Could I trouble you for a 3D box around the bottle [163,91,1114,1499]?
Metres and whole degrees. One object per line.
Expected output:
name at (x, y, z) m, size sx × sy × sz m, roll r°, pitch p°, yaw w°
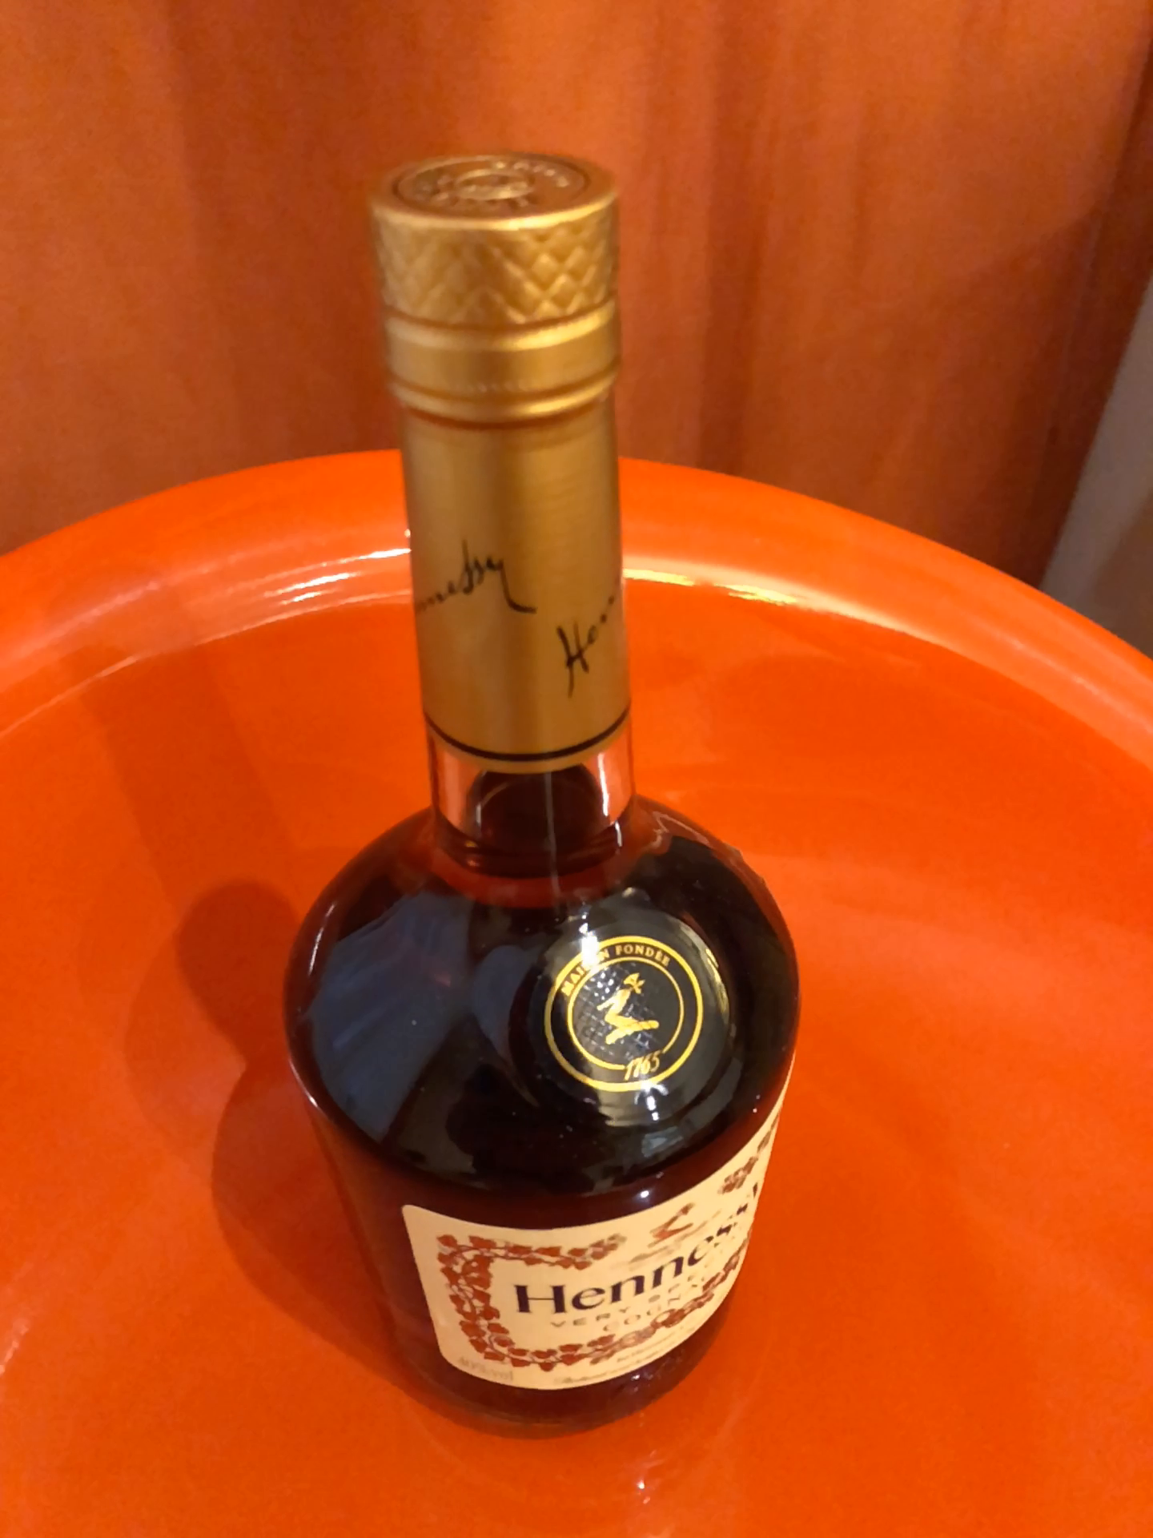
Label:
bottle at (-0.001, 0.022, 0.209) m, size 0.079 × 0.218 × 0.080 m, roll 0°, pitch 41°, yaw 0°
